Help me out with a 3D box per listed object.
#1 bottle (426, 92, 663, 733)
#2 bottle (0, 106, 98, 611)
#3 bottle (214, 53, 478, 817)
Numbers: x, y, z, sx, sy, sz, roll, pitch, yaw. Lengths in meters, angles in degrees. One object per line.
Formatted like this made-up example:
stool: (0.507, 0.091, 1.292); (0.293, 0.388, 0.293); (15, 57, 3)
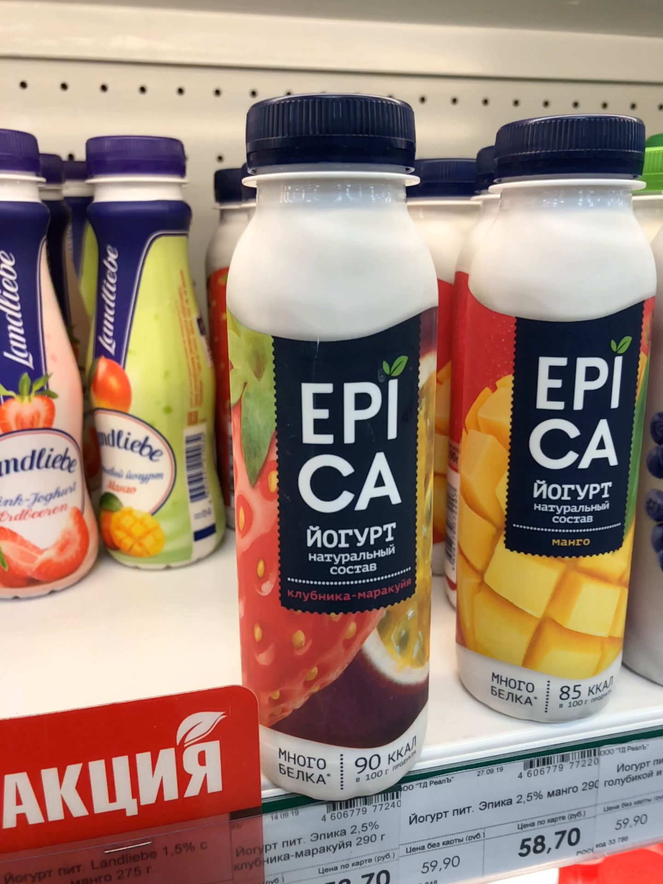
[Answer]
bottle: (0.062, -0.005, 0.225); (0.053, 0.177, 0.051); (0, 16, 0)
bottle: (-0.130, -0.031, 0.296); (0.053, 0.182, 0.051); (0, 16, 0)
bottle: (0.001, 0.002, 0.197); (0.050, 0.180, 0.050); (0, 16, 0)
